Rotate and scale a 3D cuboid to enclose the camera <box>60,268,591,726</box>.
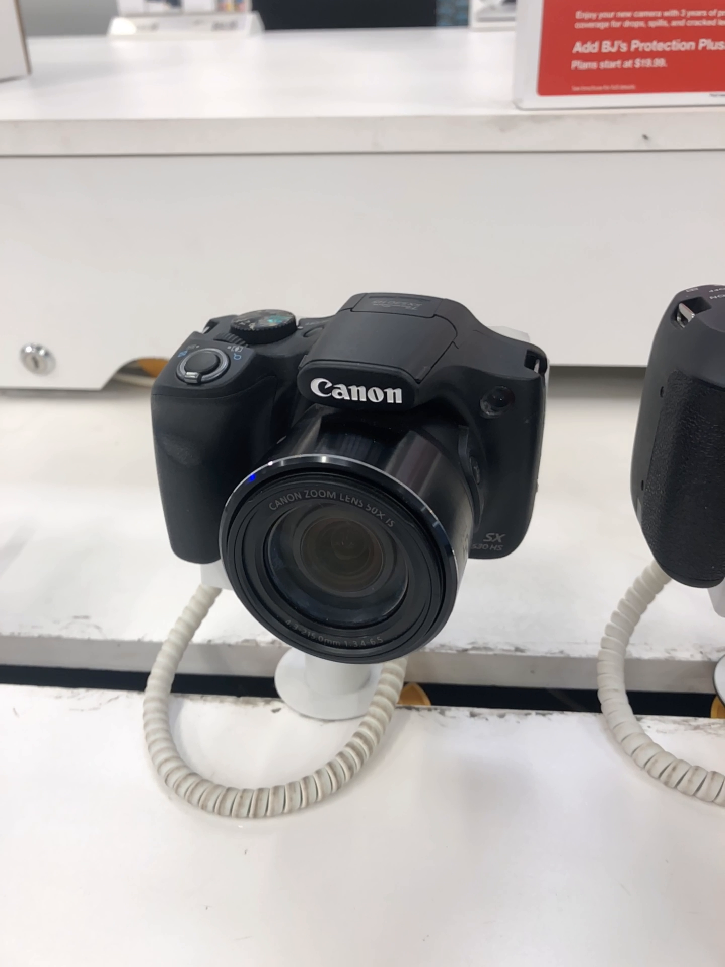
[{"bbox_3d":[-0.002,-0.003,0.232,0.120,0.089,0.080,7,32,12],"label":"camera"}]
